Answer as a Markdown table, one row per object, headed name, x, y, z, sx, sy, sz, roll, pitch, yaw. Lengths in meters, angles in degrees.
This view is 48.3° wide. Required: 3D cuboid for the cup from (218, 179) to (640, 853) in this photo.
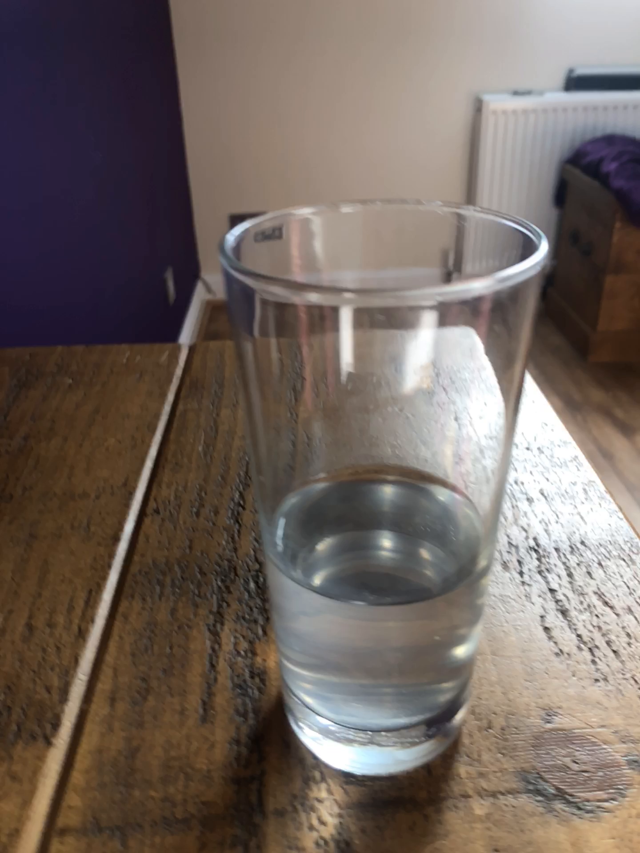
| name | x | y | z | sx | sy | sz | roll | pitch | yaw |
| --- | --- | --- | --- | --- | --- | --- | --- | --- | --- |
| cup | 0.024 | 0.023 | 0.191 | 0.077 | 0.152 | 0.074 | -2 | 29 | 1 |
